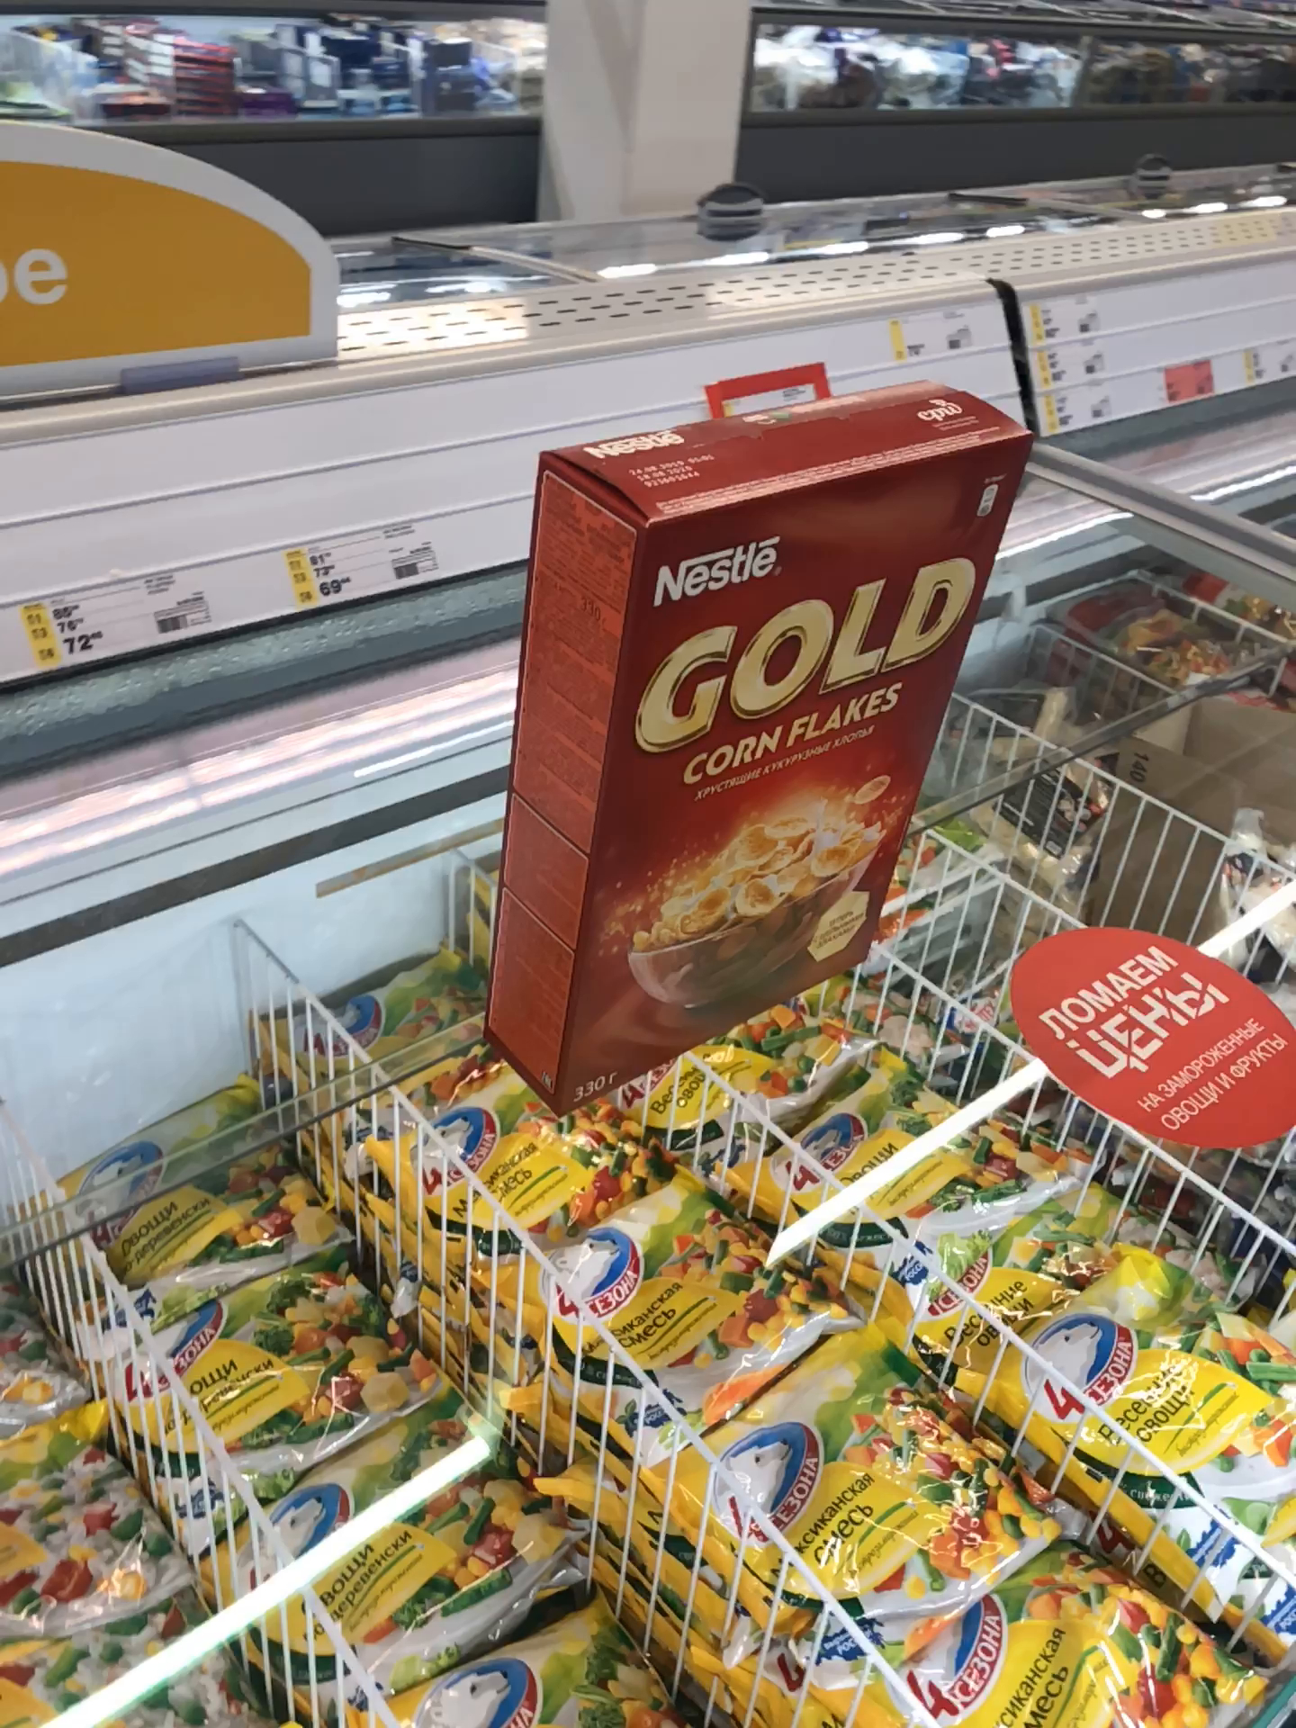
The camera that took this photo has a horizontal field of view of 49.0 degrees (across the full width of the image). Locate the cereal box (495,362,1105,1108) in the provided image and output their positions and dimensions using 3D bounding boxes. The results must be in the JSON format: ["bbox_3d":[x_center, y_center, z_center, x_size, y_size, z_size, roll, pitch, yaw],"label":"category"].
[{"bbox_3d":[0.053,-0.051,0.570,0.211,0.258,0.060,-22,48,-34],"label":"cereal box"}]
